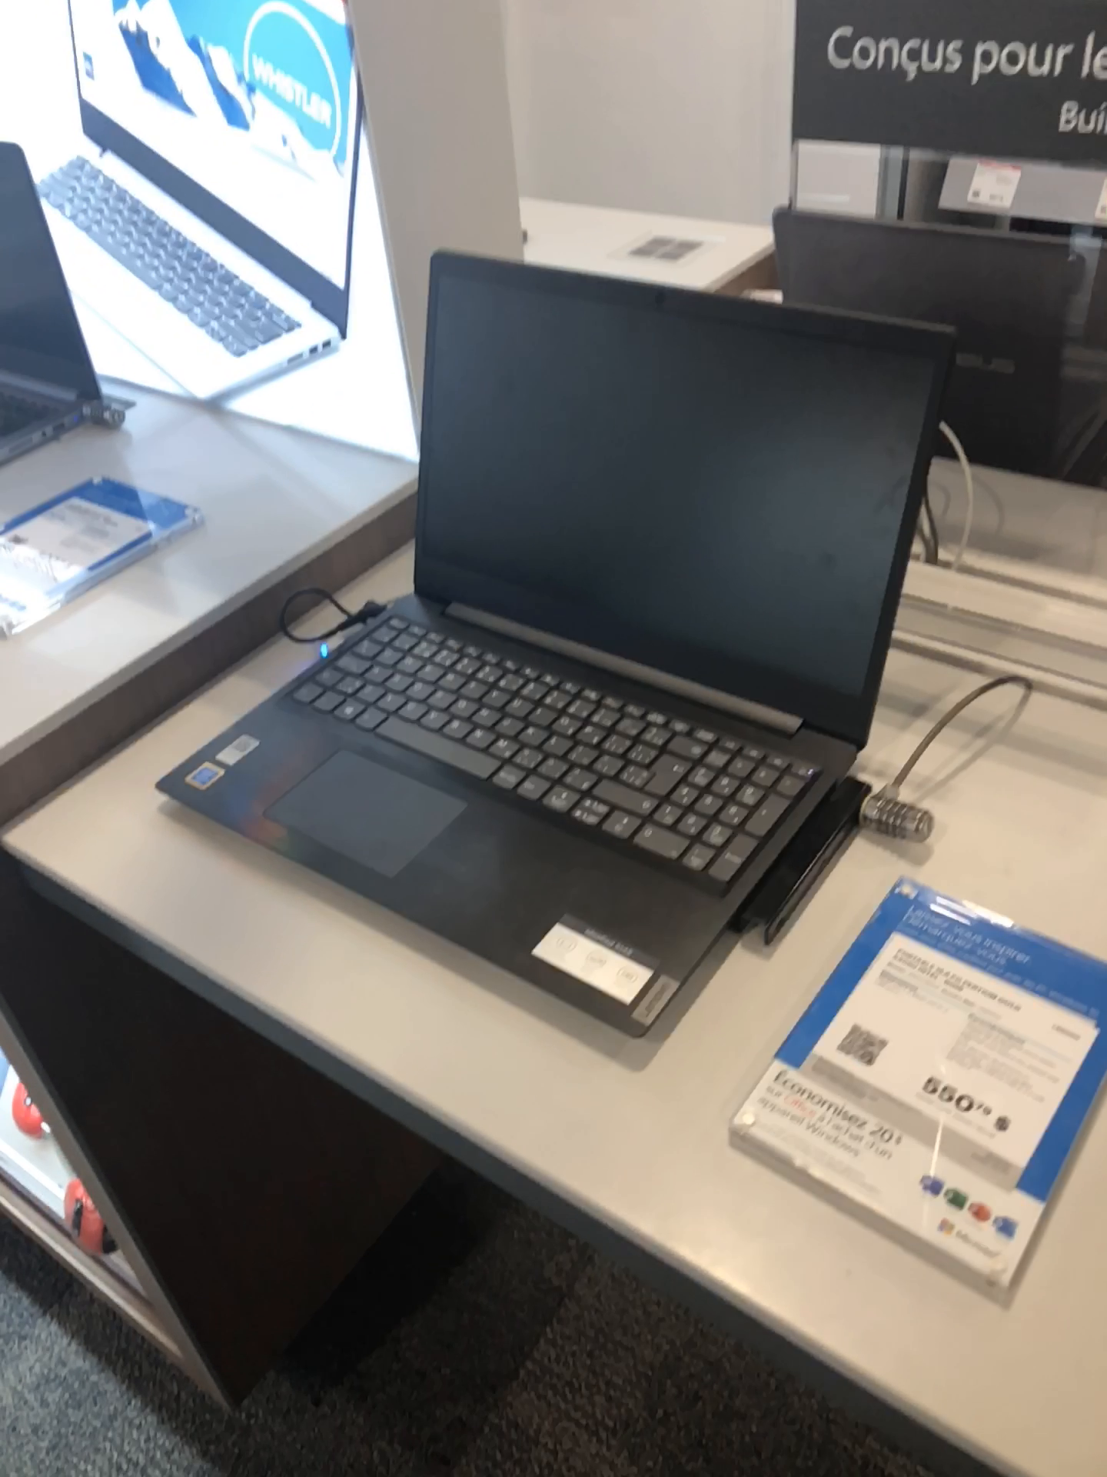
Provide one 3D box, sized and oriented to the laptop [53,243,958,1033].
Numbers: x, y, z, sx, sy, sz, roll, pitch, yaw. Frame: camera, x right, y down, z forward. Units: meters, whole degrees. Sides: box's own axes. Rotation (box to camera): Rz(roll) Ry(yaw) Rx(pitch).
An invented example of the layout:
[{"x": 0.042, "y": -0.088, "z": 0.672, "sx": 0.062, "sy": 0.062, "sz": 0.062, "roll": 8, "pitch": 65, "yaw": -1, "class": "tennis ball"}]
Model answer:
[{"x": -0.014, "y": -0.094, "z": 0.685, "sx": 0.347, "sy": 0.213, "sz": 0.323, "roll": 21, "pitch": 48, "yaw": 30, "class": "laptop"}]
